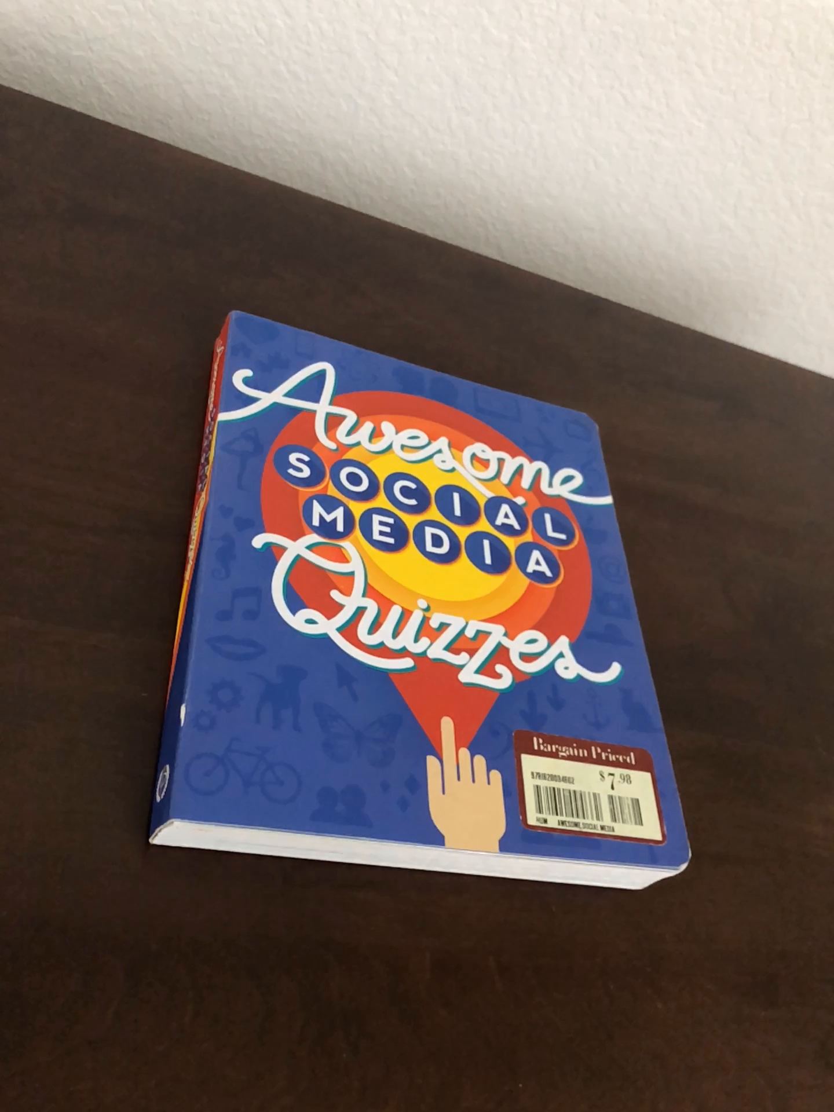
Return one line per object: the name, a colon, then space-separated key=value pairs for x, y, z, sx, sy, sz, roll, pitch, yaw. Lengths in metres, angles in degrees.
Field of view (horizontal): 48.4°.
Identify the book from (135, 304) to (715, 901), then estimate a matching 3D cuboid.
book: x=0.005 y=0.009 z=0.325 sx=0.172 sy=0.020 sz=0.201 roll=12 pitch=51 yaw=-20
